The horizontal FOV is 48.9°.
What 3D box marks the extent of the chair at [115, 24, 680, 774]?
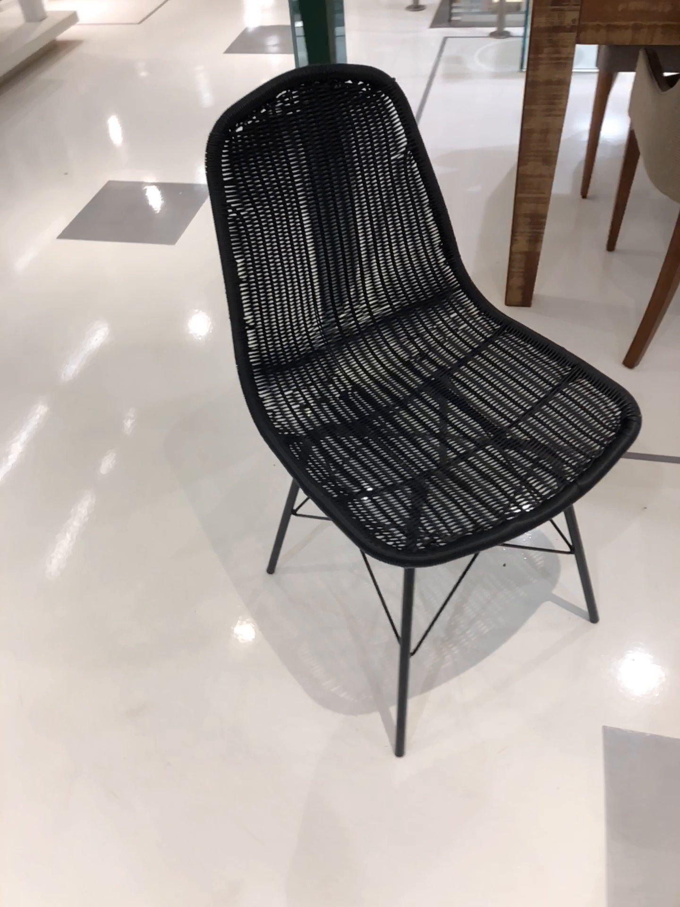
[{"bbox_3d":[0.112,-0.066,1.079,0.481,0.794,0.553,-28,49,-20],"label":"chair"}]
